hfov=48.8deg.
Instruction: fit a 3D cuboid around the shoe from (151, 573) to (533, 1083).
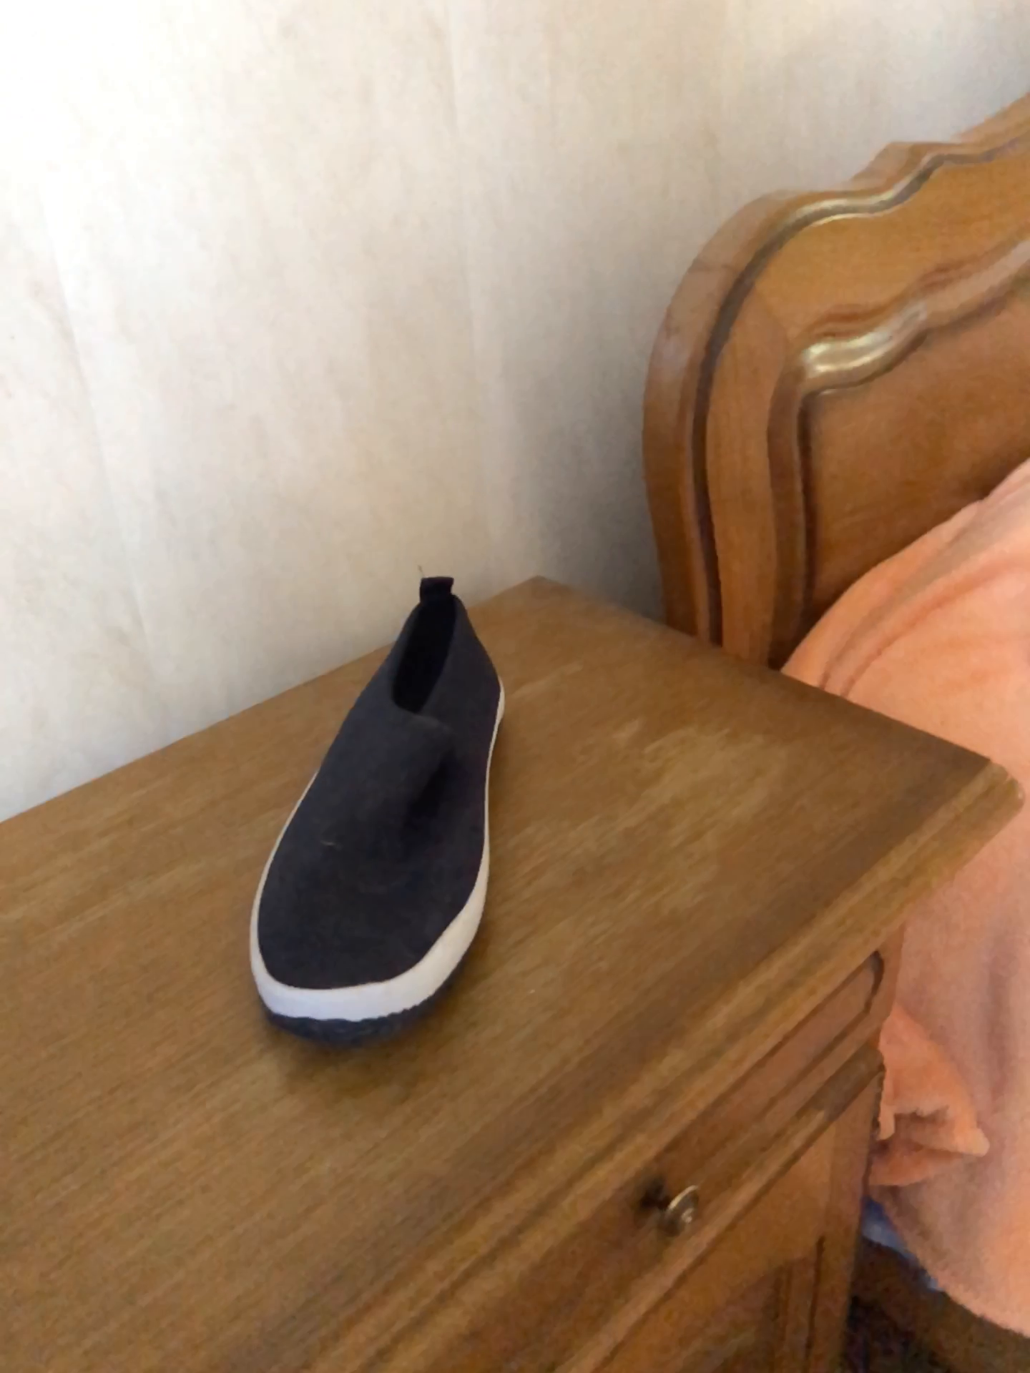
[{"bbox_3d":[-0.055,0.041,0.498,0.100,0.080,0.262,0,29,6],"label":"shoe"}]
